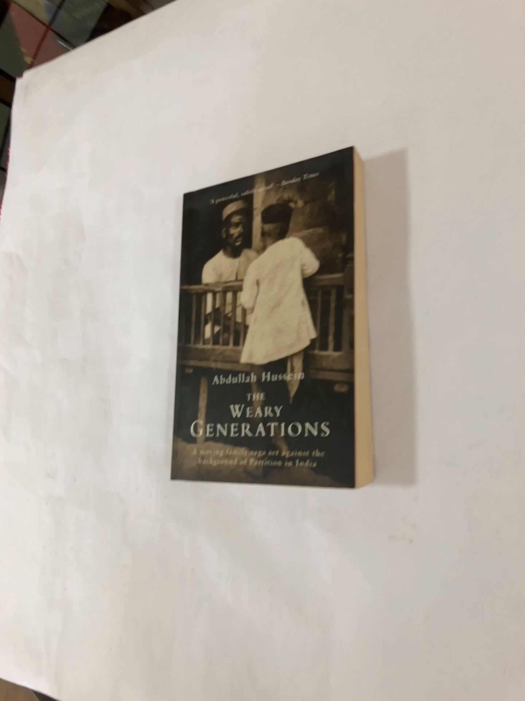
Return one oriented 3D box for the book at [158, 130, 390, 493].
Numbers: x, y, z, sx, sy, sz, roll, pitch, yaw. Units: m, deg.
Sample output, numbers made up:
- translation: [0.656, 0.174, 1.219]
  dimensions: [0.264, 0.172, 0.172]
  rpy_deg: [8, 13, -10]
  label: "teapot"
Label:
- translation: [0.004, -0.018, 0.360]
  dimensions: [0.140, 0.030, 0.200]
  rpy_deg: [-6, 76, 32]
  label: "book"
